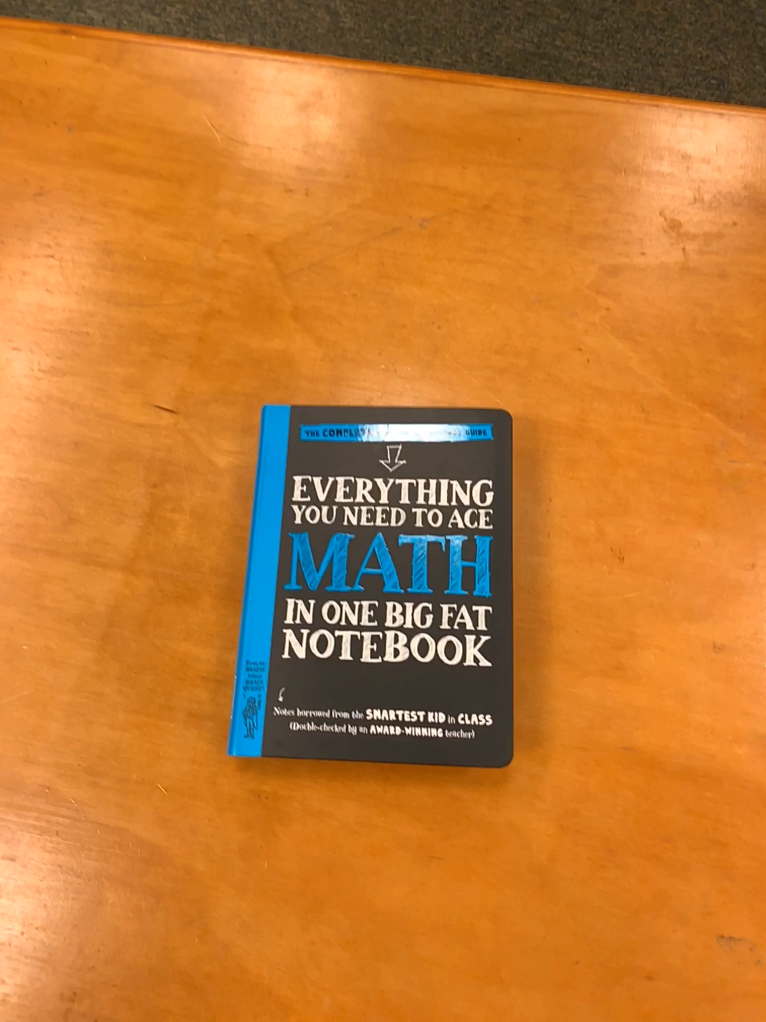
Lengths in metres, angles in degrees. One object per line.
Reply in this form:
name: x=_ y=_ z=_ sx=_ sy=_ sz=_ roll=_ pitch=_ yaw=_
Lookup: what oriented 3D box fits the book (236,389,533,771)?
book: x=0.005 y=0.038 z=0.465 sx=0.157 sy=0.050 sz=0.208 roll=3 pitch=78 yaw=1
